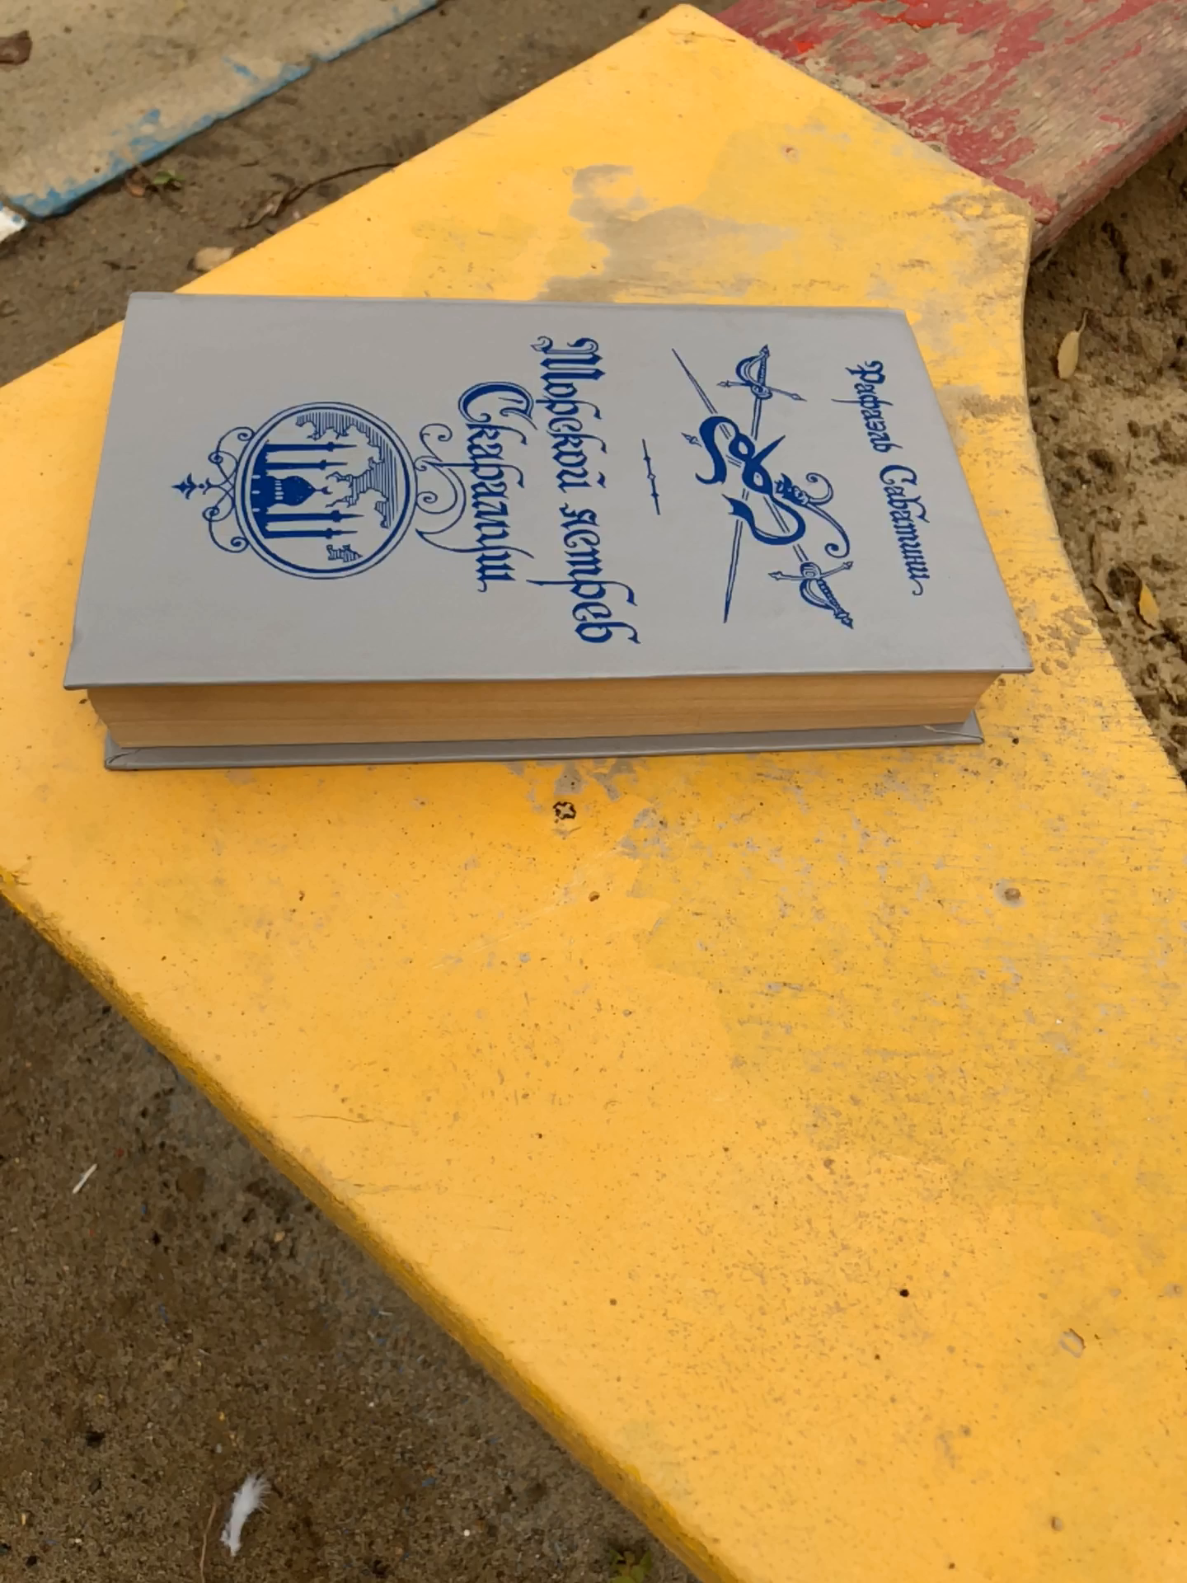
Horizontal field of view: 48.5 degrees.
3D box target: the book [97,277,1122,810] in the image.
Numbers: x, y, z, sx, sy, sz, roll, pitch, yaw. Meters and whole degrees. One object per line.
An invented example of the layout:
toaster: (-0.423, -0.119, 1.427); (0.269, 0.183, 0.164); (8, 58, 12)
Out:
book: (0.001, -0.066, 0.320); (0.210, 0.037, 0.136); (-2, 57, -6)
